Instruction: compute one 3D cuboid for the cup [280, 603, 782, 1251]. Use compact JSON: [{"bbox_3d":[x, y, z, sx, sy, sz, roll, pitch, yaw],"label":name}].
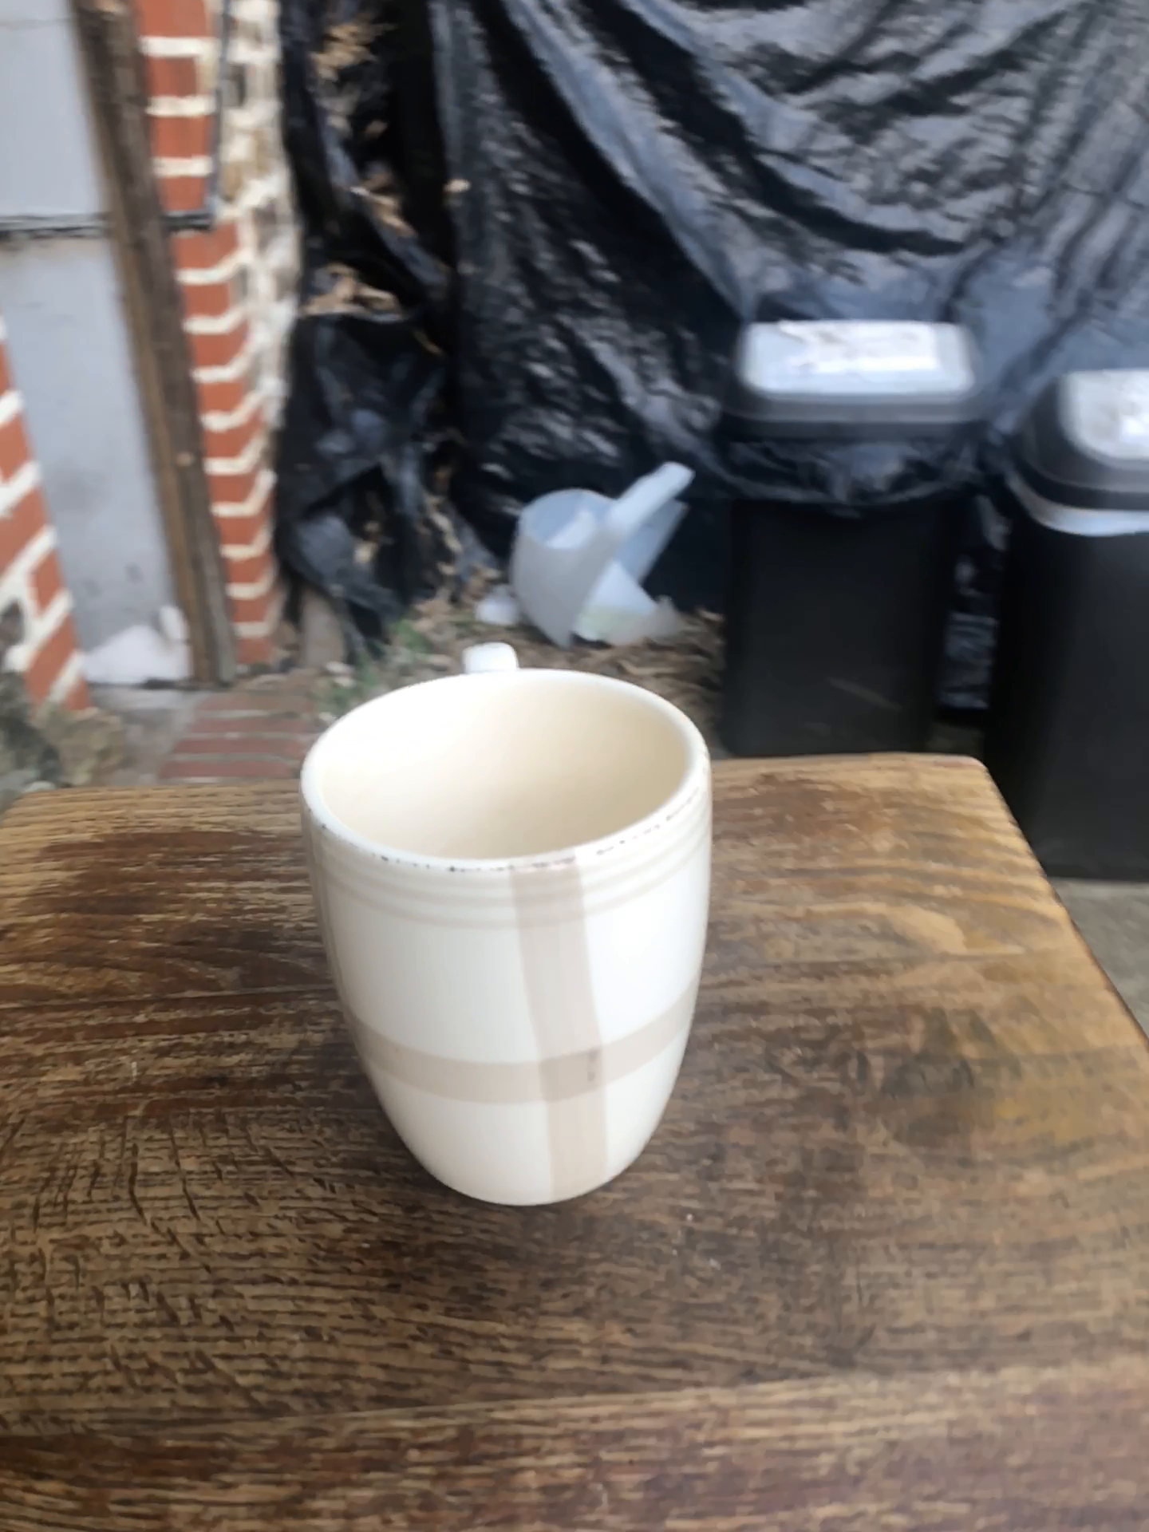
[{"bbox_3d":[-0.014,0.027,0.292,0.087,0.078,0.125,-7,30,-6],"label":"cup"}]
